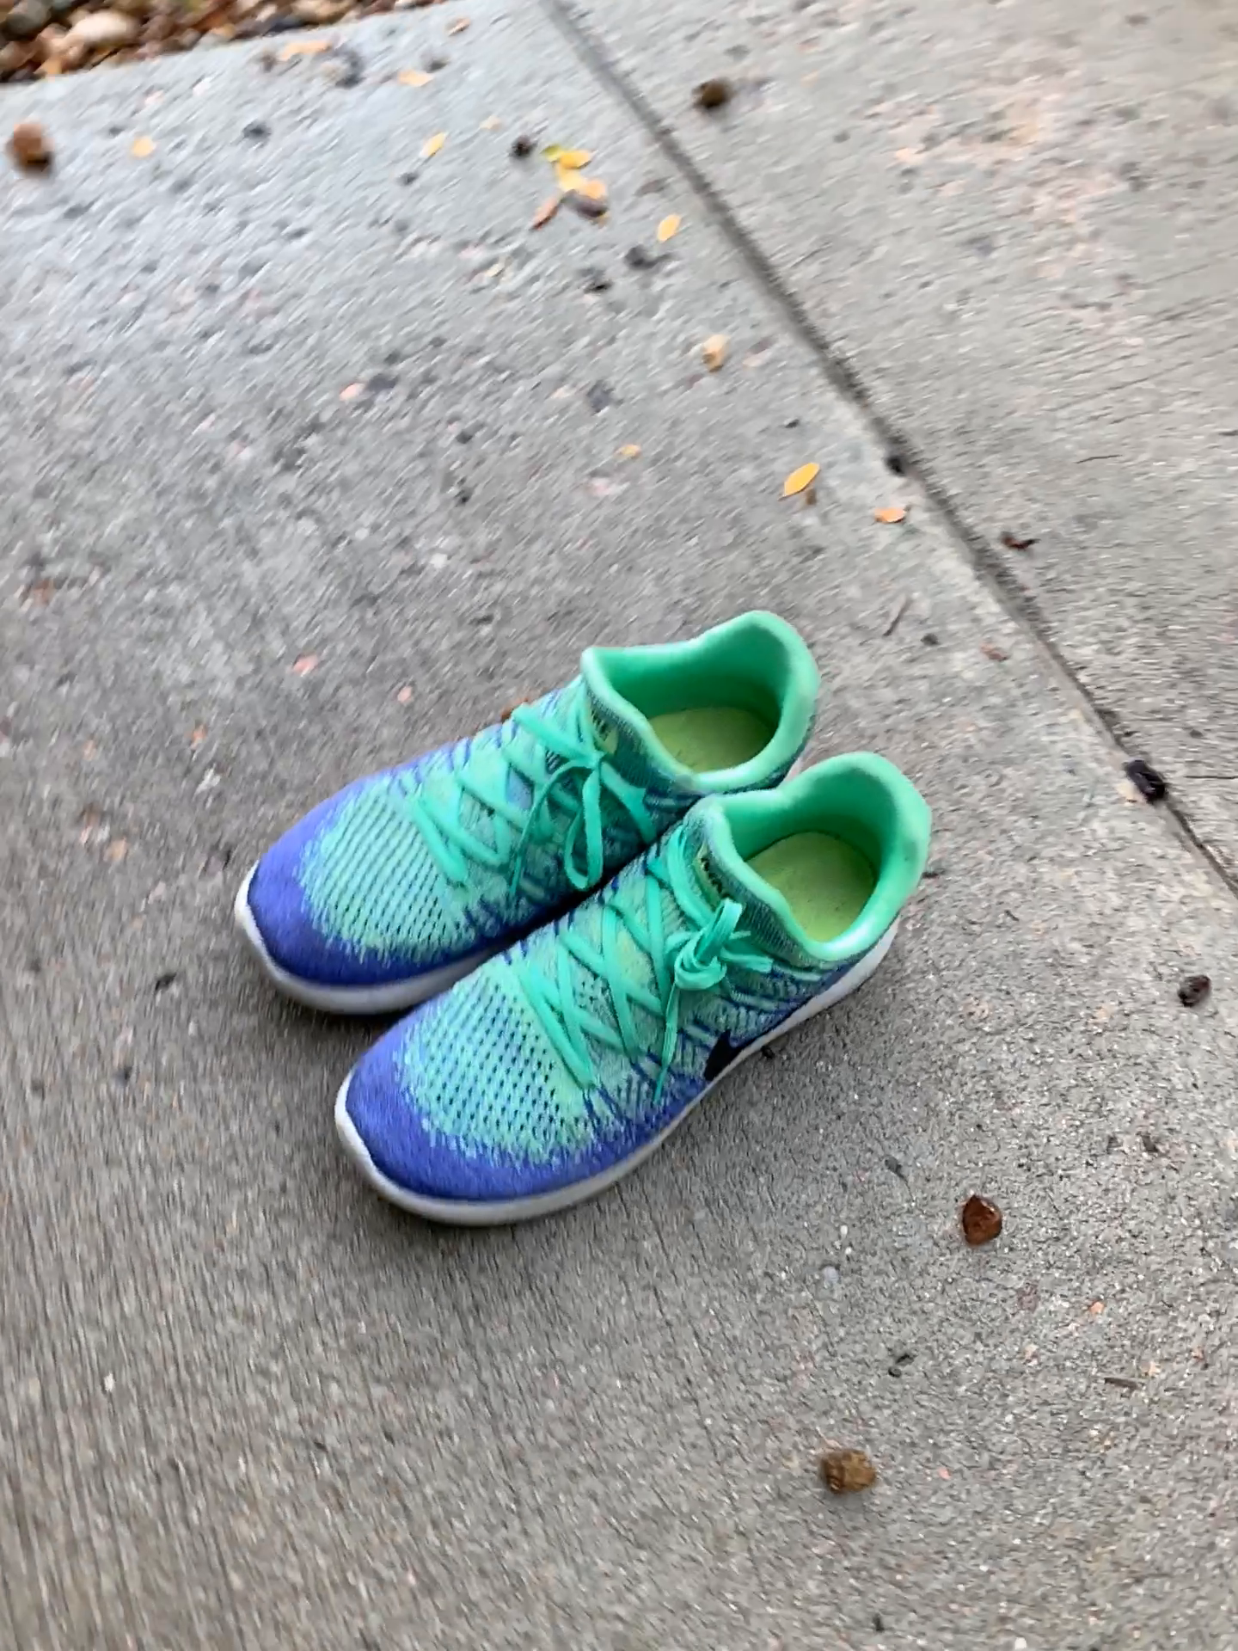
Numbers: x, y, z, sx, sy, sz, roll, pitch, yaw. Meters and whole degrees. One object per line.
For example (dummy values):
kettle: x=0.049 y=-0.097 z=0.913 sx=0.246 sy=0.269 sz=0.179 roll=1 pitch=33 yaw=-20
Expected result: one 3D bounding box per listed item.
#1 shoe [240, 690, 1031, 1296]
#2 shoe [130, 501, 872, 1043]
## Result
shoe: x=0.008 y=0.071 z=0.549 sx=0.290 sy=0.110 sz=0.120 roll=-24 pitch=68 yaw=-13
shoe: x=-0.045 y=-0.022 z=0.542 sx=0.270 sy=0.110 sz=0.100 roll=-24 pitch=73 yaw=-13
